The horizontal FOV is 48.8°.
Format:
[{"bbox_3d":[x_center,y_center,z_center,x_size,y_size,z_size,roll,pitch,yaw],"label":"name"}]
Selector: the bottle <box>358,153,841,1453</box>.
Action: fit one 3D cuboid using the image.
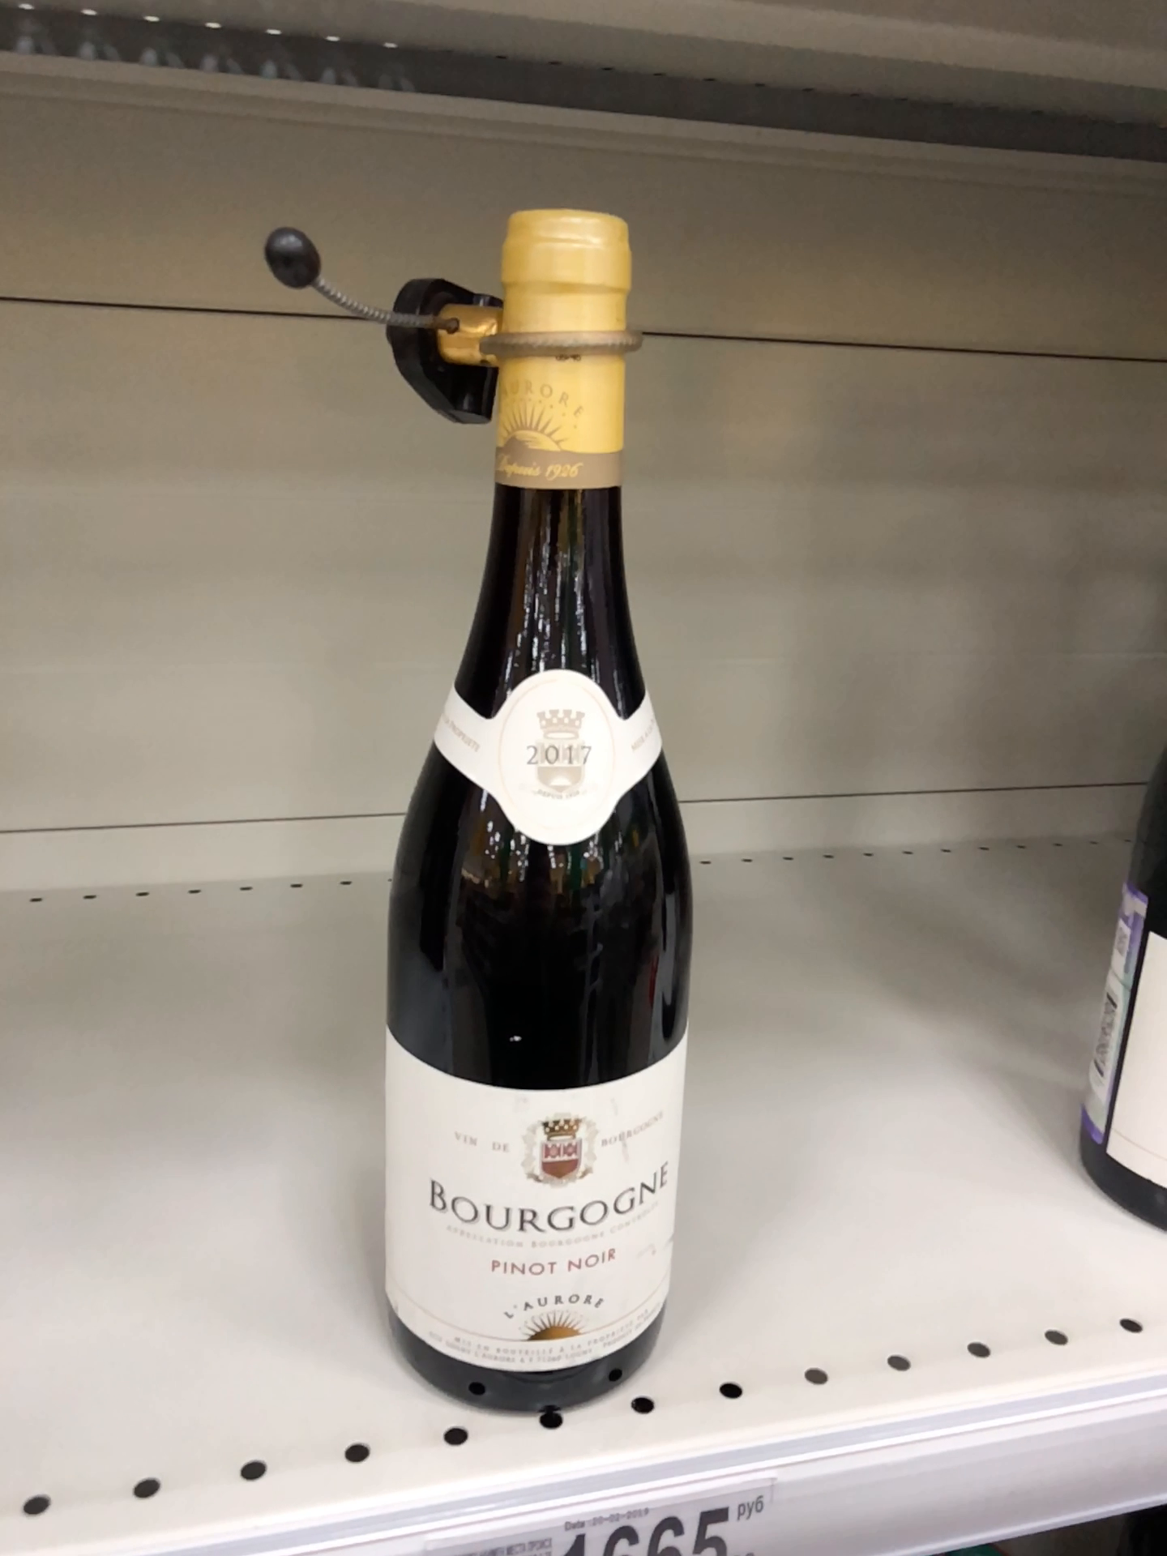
[{"bbox_3d":[-0.009,0.012,0.323,0.090,0.289,0.090,2,16,-1],"label":"bottle"}]
